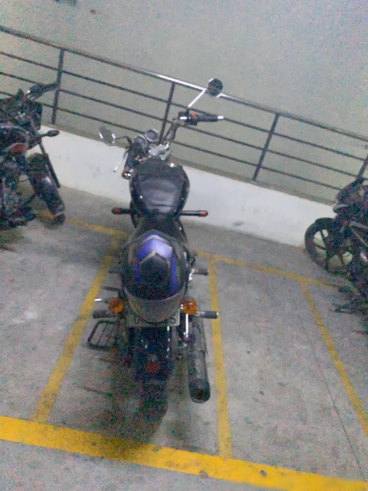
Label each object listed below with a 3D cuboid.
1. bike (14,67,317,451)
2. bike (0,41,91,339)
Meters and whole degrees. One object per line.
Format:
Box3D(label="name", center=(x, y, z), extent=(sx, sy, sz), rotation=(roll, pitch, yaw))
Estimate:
Box3D(label="bike", center=(-0.305, -0.093, 2.137), extent=(0.842, 1.304, 1.674), rotation=(9, 27, -17))
Box3D(label="bike", center=(-1.297, -0.463, 2.325), extent=(0.593, 1.193, 1.509), rotation=(21, 27, 7))
